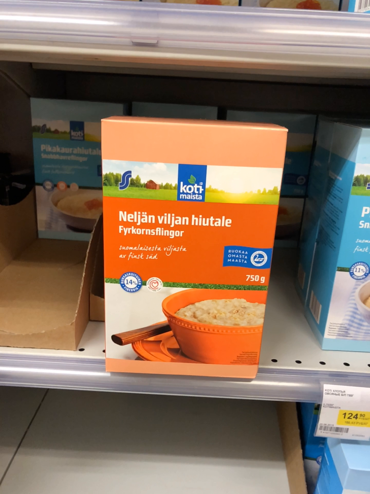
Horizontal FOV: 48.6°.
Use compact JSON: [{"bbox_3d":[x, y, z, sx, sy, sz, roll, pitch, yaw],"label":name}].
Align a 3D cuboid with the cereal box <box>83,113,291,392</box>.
[{"bbox_3d":[-0.002,0.003,0.369,0.150,0.229,0.080,3,18,1],"label":"cereal box"}]
